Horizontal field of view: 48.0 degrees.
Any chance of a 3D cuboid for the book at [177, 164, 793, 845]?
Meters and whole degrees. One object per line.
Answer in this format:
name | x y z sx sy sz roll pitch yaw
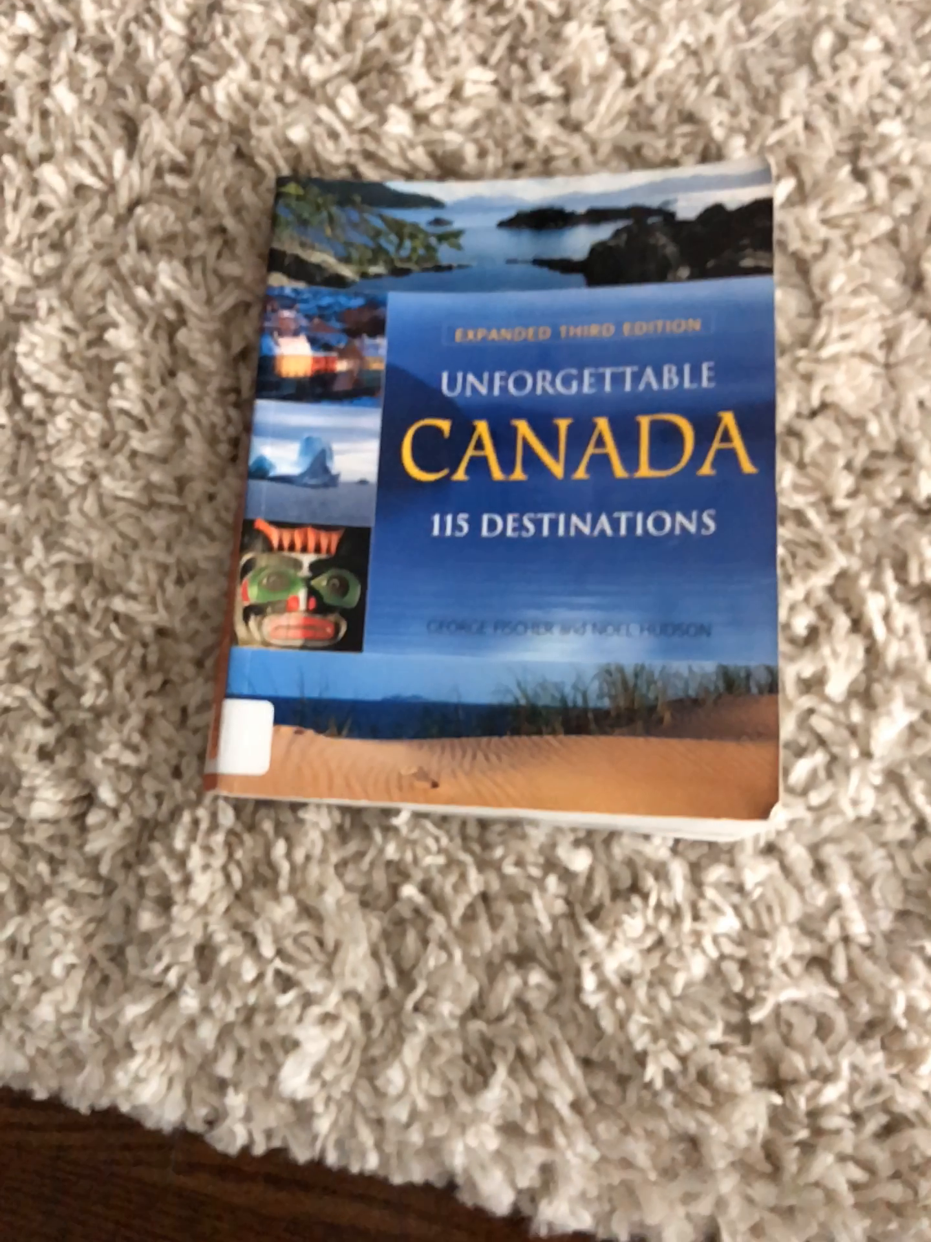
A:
book | 0.011 -0.045 0.381 0.200 0.040 0.234 2 79 10
